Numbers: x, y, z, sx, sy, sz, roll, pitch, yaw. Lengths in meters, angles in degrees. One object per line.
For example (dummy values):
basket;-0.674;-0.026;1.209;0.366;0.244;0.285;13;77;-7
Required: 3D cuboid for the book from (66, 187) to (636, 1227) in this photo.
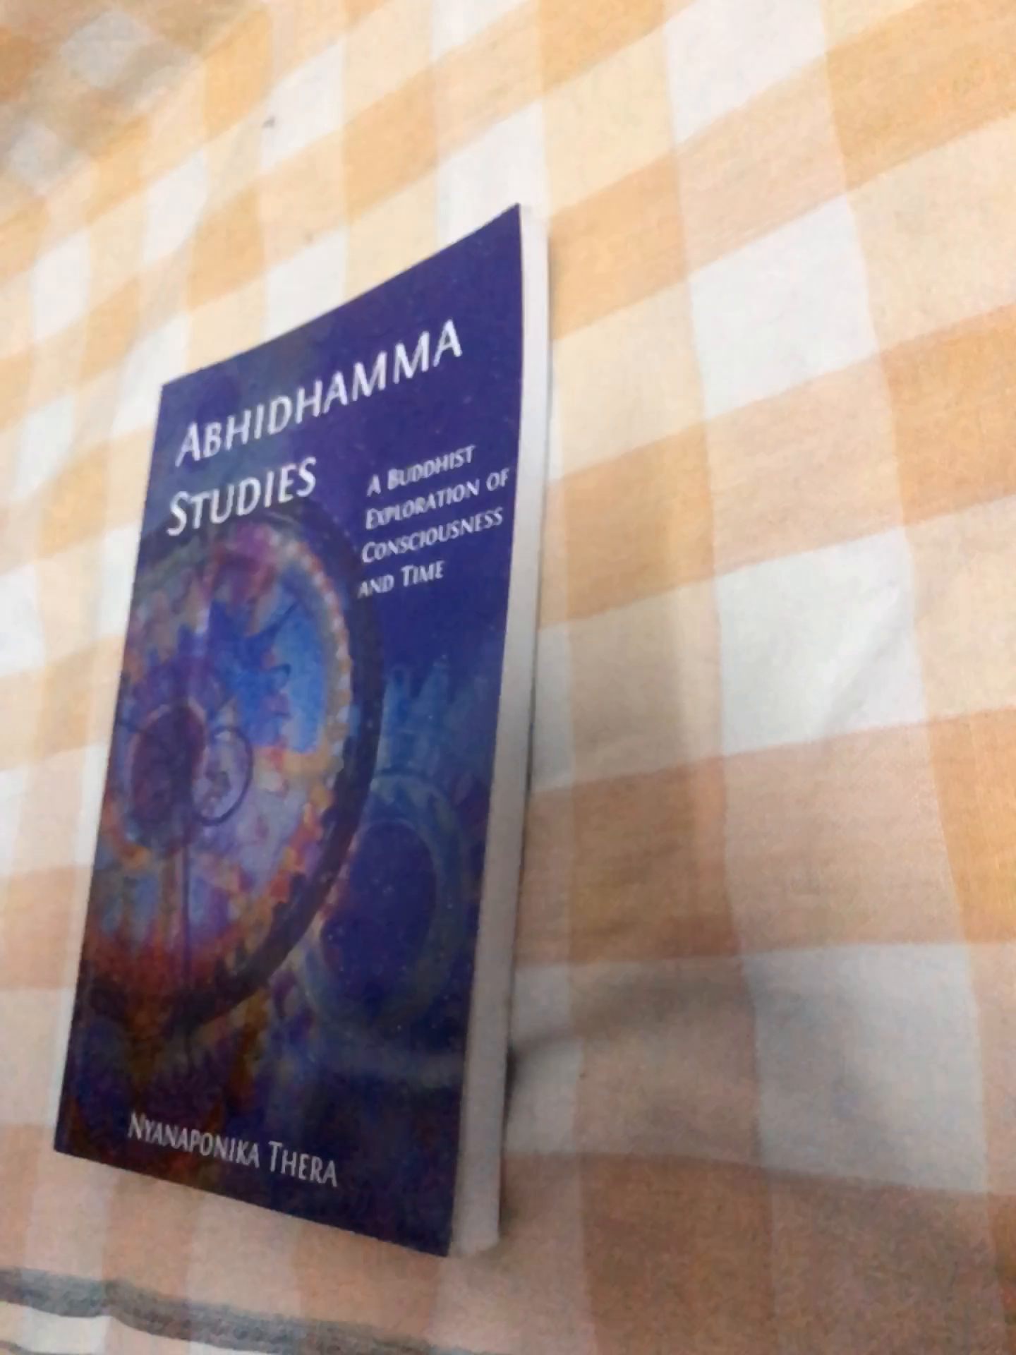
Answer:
book;-0.041;0.005;0.276;0.150;0.020;0.210;-9;71;37
